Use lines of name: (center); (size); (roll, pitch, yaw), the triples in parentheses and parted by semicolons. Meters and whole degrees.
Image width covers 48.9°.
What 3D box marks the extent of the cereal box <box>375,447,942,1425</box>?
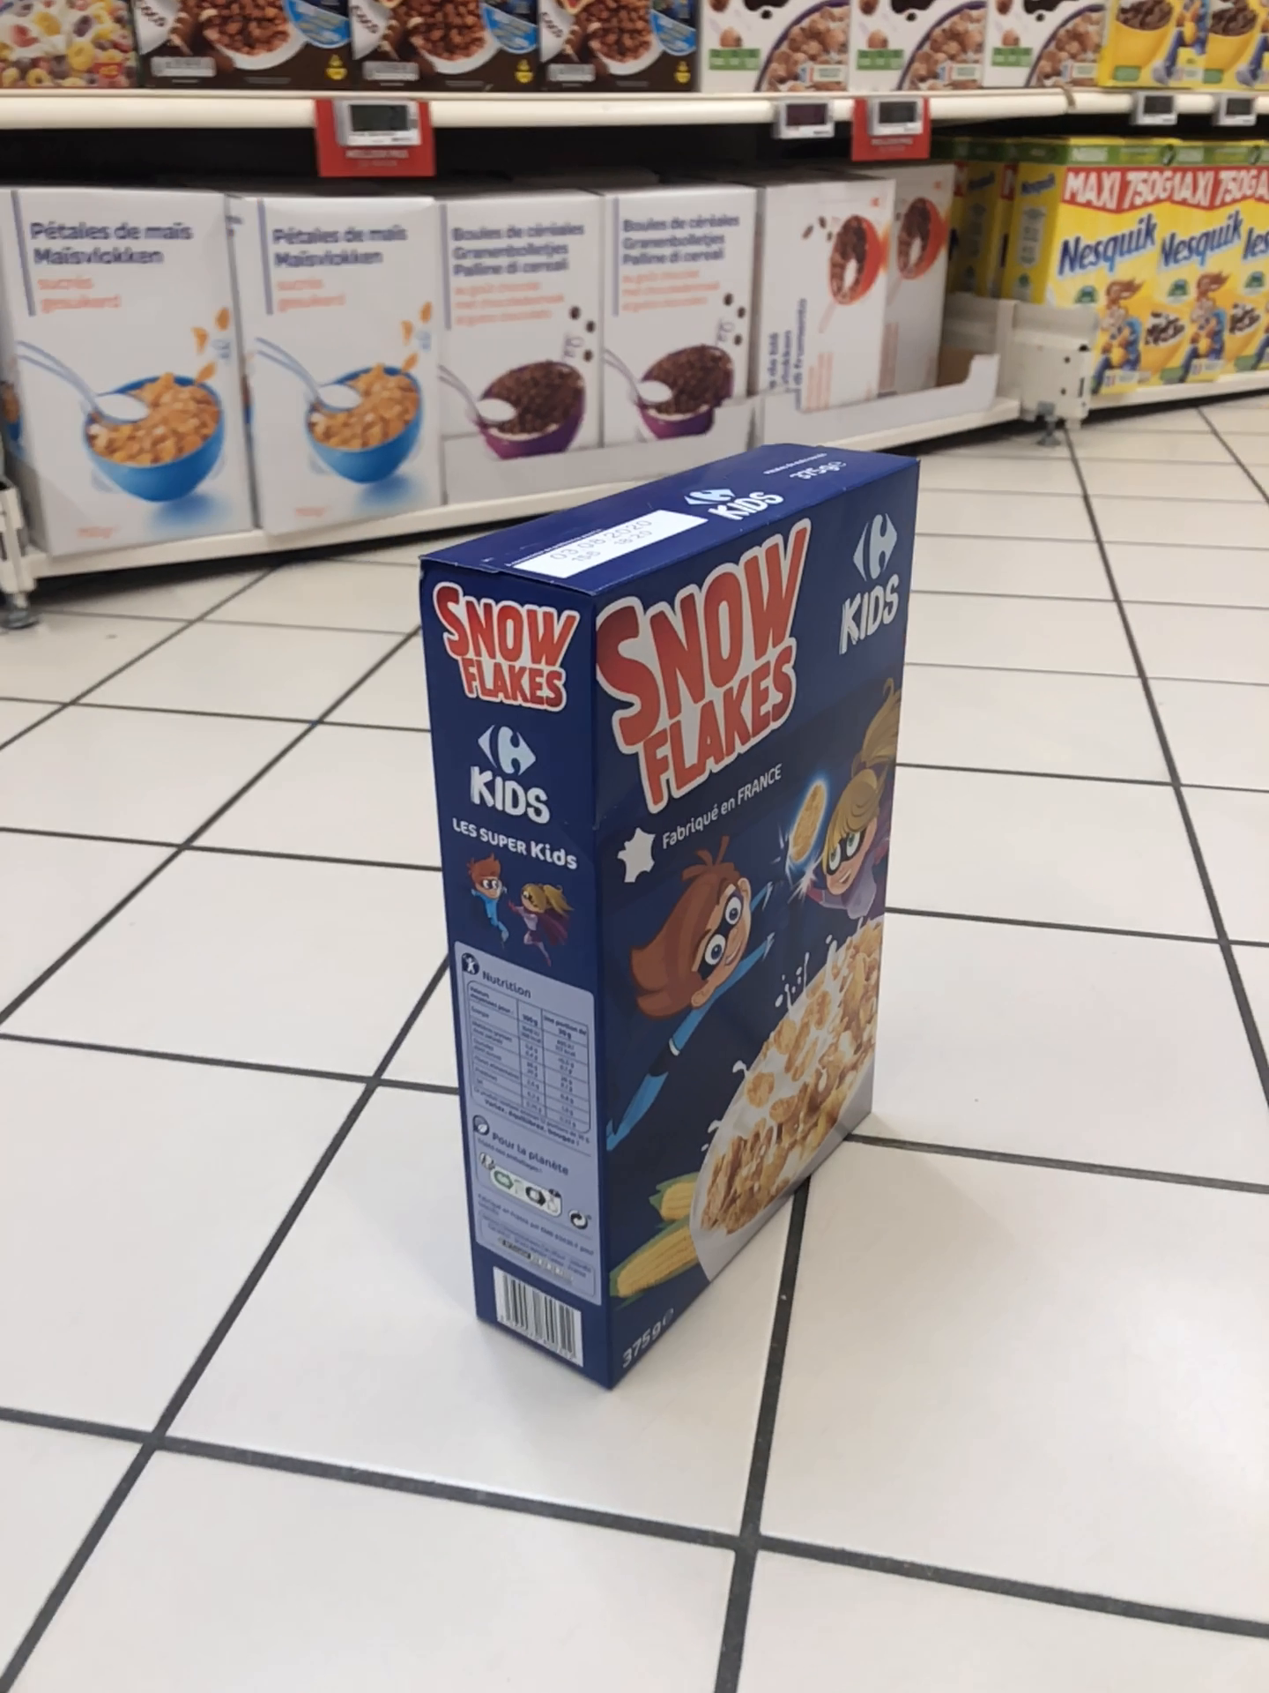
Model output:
cereal box: (0.019, 0.023, 0.510); (0.080, 0.288, 0.201); (18, 32, 32)
